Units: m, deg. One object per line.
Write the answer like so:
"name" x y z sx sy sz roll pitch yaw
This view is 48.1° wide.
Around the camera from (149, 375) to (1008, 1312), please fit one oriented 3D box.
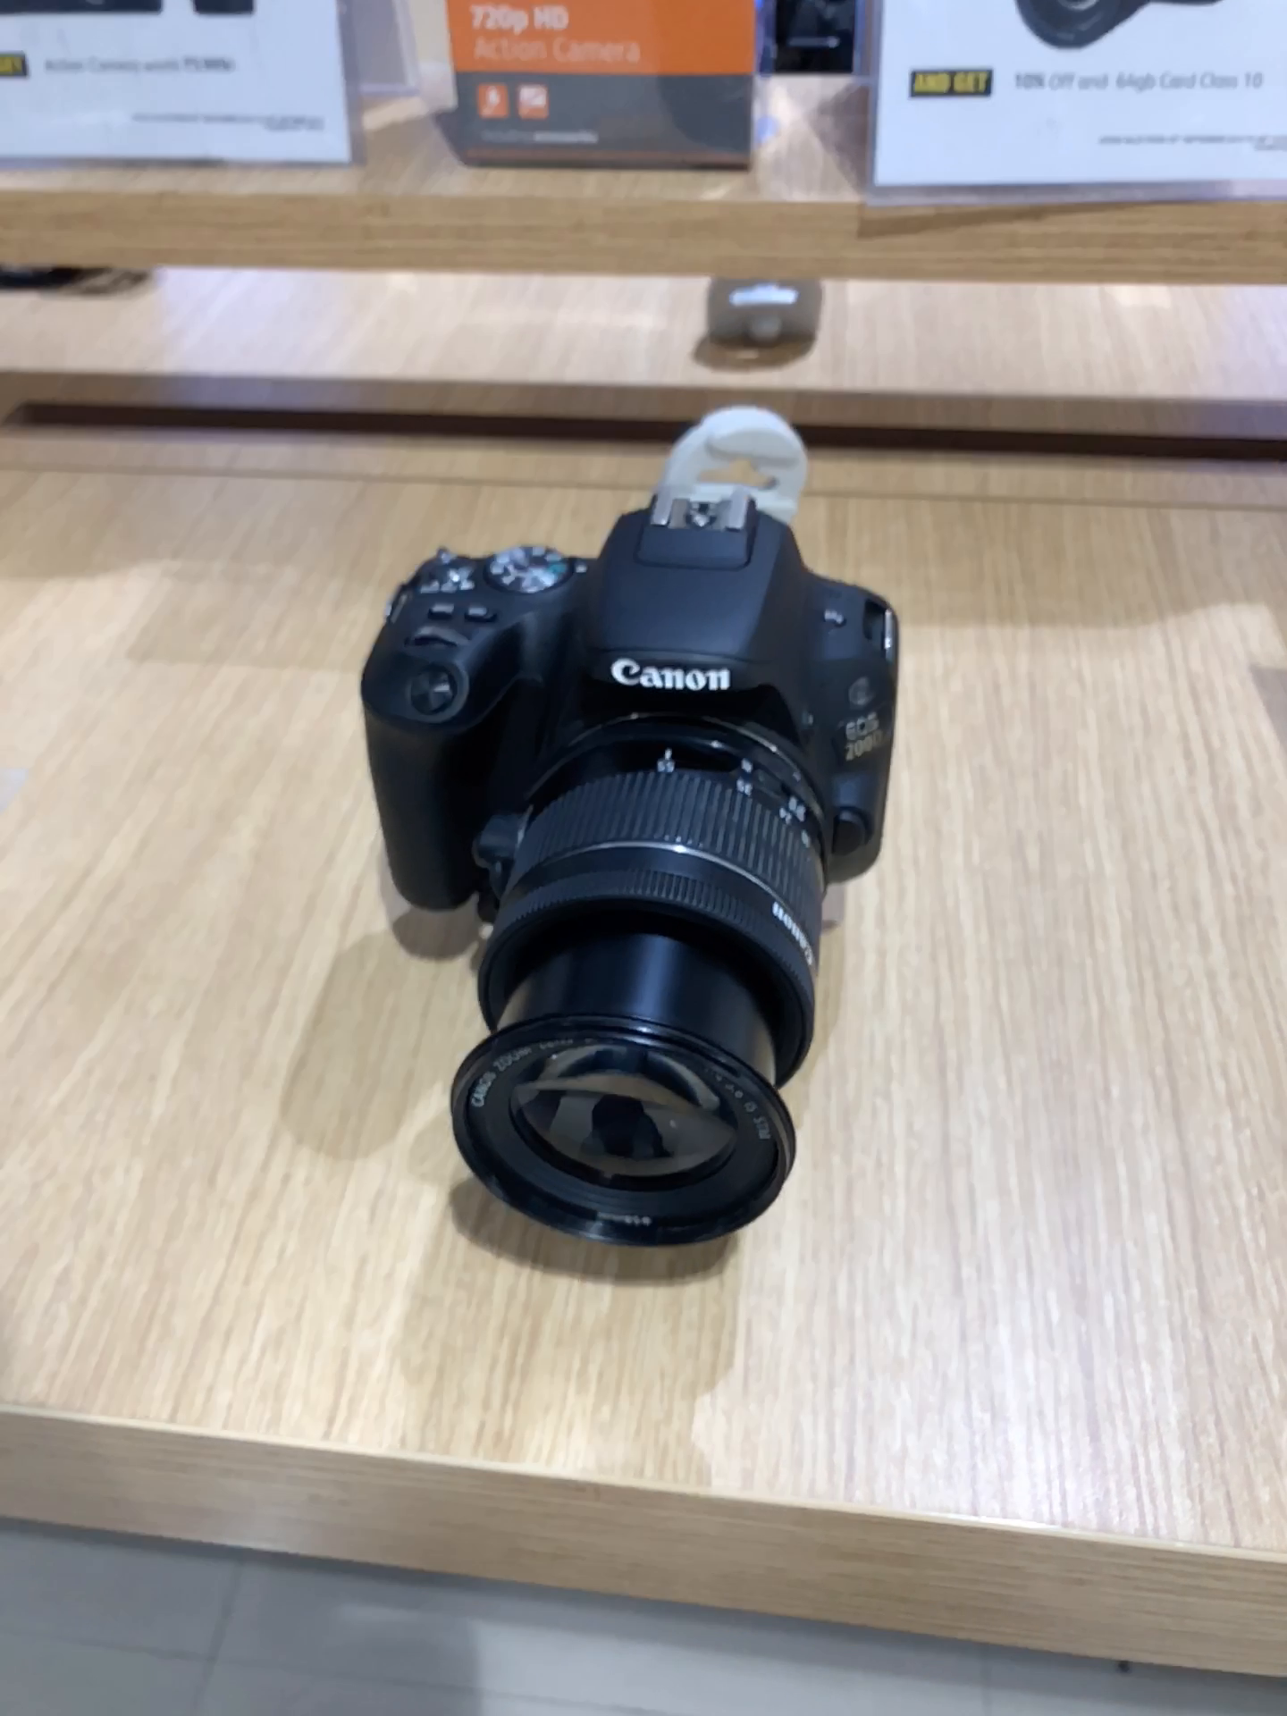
"camera" 0.001 -0.014 0.291 0.120 0.099 0.161 4 42 7
